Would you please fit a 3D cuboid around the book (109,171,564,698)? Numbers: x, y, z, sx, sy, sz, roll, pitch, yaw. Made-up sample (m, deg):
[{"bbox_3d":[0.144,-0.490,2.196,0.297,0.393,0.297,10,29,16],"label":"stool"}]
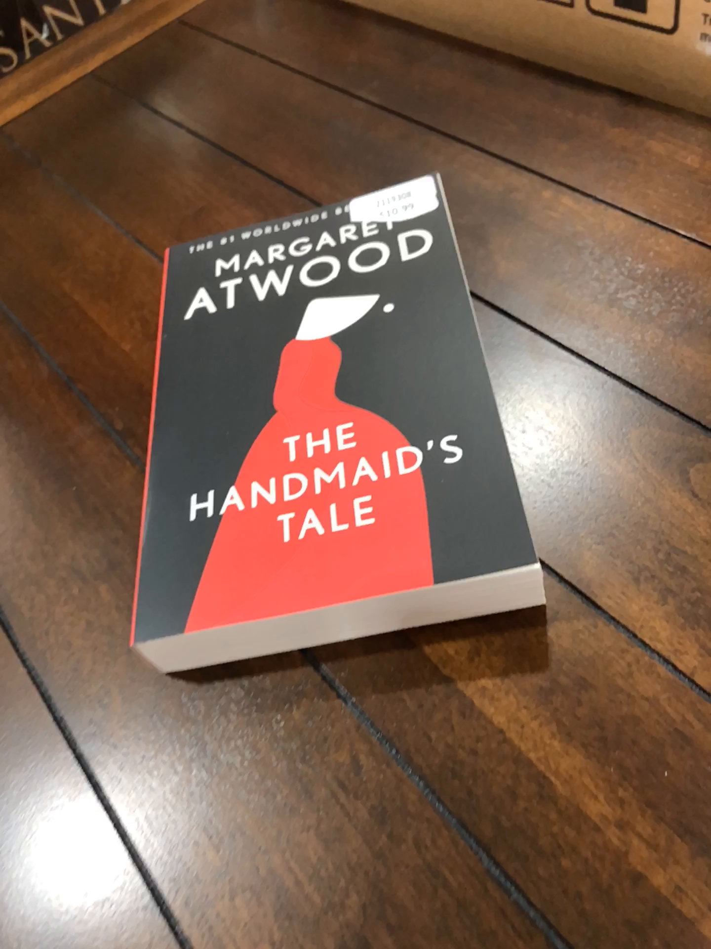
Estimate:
[{"bbox_3d":[-0.014,-0.030,0.309,0.138,0.030,0.207,-12,52,8],"label":"book"}]
